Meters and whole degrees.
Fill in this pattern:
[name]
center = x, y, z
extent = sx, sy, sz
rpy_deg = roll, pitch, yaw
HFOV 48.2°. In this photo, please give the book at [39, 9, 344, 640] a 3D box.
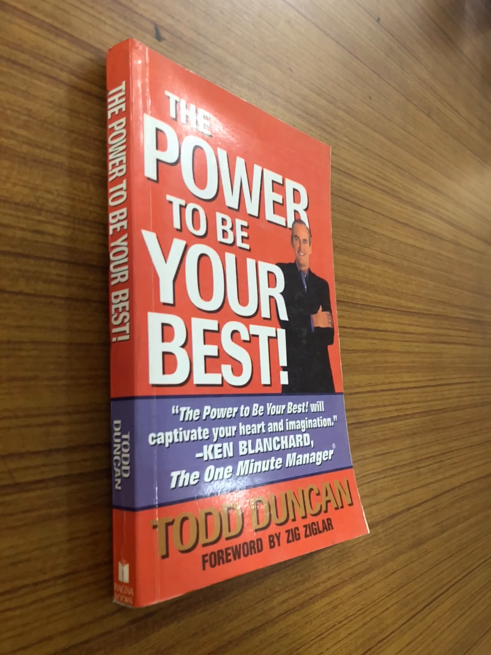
[book]
center = -0.015, -0.002, 0.254
extent = 0.151, 0.030, 0.220
rpy_deg = 7, 78, -47
